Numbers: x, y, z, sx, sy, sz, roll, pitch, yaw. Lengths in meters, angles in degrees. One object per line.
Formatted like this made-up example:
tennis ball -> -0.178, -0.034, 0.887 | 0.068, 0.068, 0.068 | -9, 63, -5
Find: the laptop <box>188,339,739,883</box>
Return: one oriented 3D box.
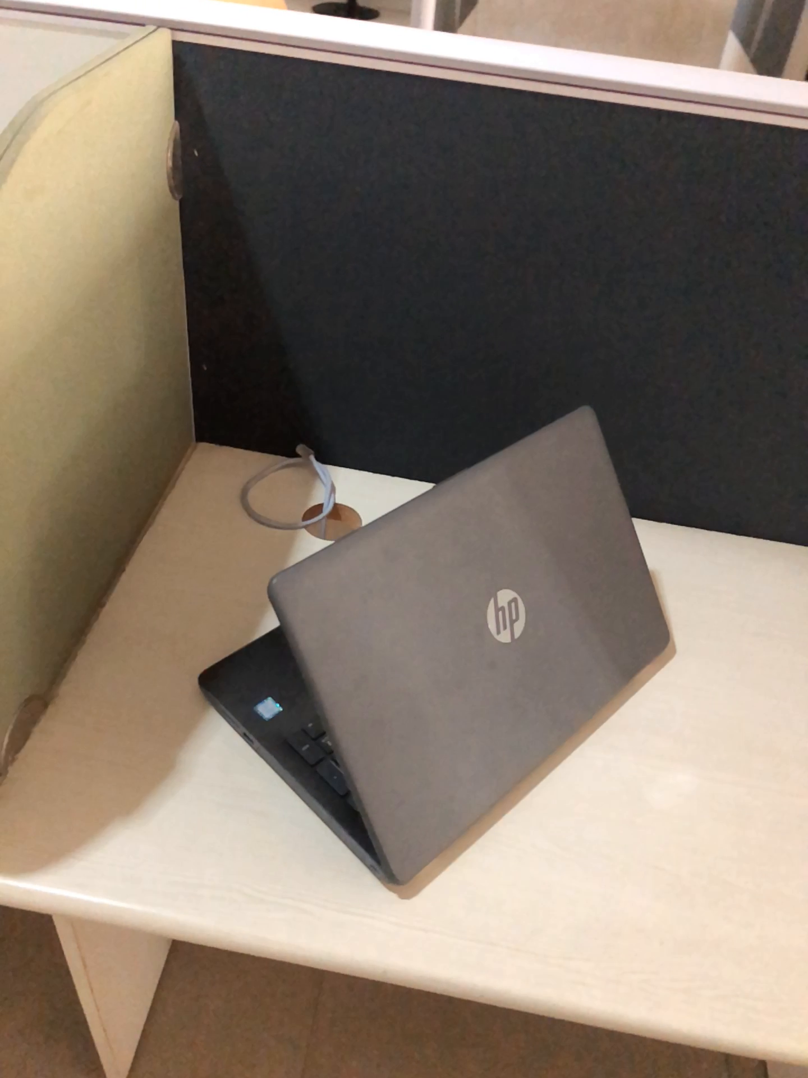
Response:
laptop -> 0.050, 0.032, 0.745 | 0.362, 0.204, 0.247 | -31, 55, -35
